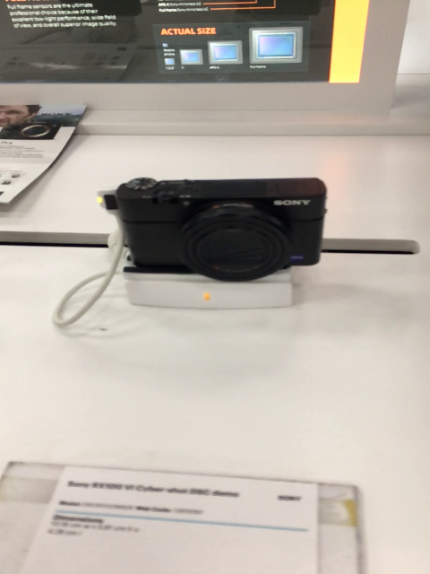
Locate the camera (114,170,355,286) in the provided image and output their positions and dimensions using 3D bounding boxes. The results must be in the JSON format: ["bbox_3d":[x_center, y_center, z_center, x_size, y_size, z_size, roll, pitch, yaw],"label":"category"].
[{"bbox_3d":[0.013,-0.035,0.332,0.127,0.059,0.041,1,45,5],"label":"camera"}]
